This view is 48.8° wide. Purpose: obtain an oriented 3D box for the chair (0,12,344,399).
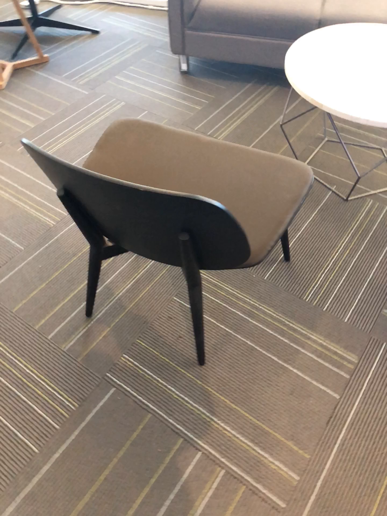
[{"bbox_3d":[-0.042,-0.175,1.313,0.671,0.737,0.742,18,53,16],"label":"chair"}]
